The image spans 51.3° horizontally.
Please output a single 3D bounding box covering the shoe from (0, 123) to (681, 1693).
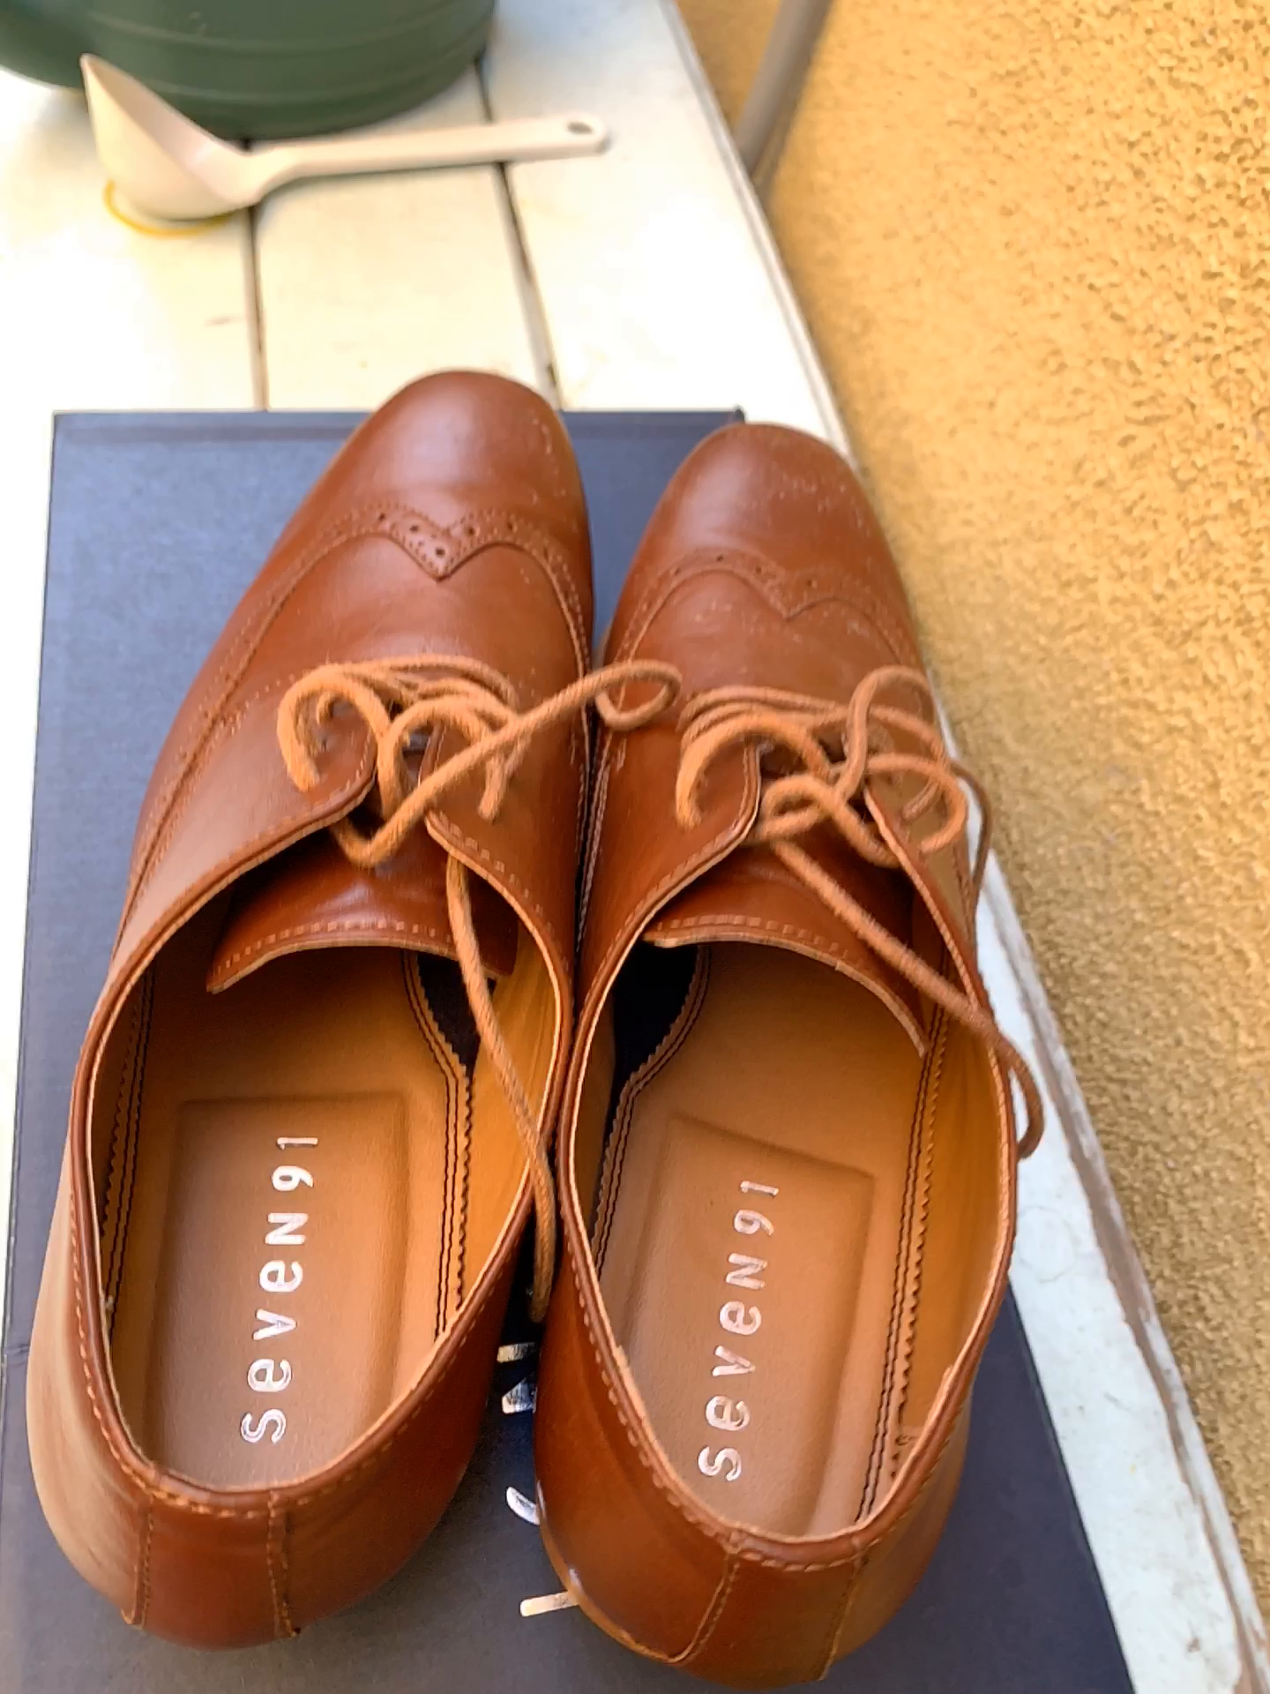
[{"bbox_3d":[-0.060,-0.007,0.274,0.104,0.099,0.302,9,58,-5],"label":"shoe"}]

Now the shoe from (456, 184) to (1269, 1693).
[{"bbox_3d":[0.041,0.002,0.285,0.110,0.099,0.302,9,58,-5],"label":"shoe"}]
